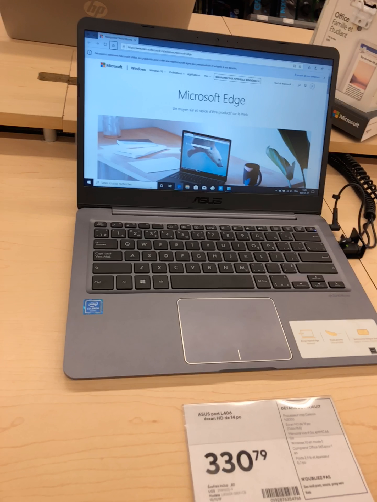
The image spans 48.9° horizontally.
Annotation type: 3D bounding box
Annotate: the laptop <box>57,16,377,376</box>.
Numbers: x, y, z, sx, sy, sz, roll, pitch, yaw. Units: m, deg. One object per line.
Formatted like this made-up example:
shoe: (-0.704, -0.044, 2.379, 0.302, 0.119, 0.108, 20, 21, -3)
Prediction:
laptop: (0.043, -0.074, 0.431, 0.309, 0.172, 0.328, 1, 46, -12)
